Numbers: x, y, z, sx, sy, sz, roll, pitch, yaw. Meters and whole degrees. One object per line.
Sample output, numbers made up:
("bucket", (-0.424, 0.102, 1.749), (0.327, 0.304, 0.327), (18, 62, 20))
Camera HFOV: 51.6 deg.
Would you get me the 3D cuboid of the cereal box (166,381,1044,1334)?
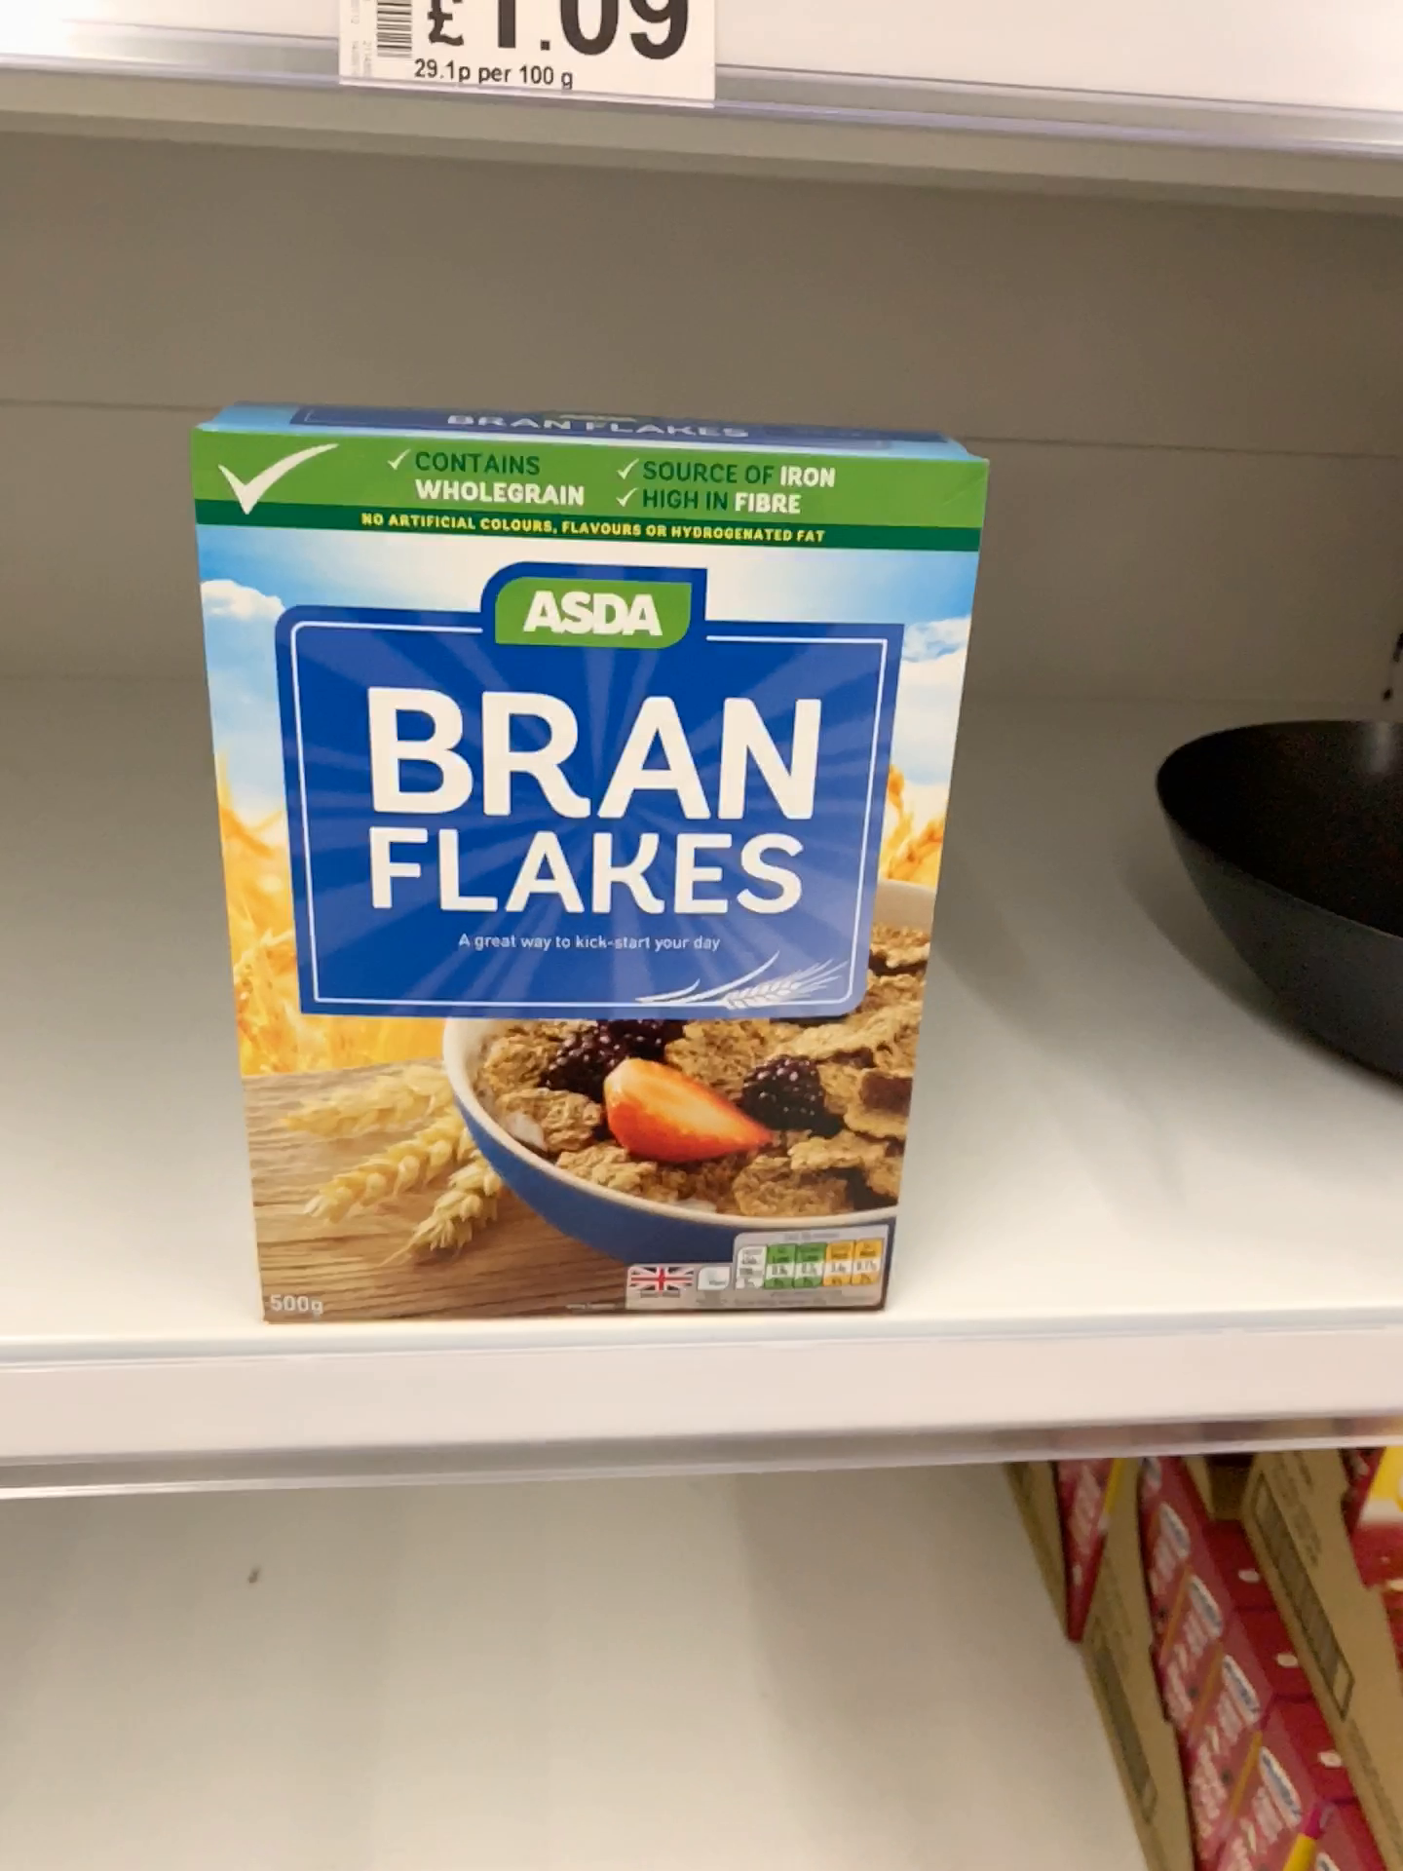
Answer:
("cereal box", (-0.031, -0.018, 0.453), (0.220, 0.278, 0.081), (0, 22, -6))
